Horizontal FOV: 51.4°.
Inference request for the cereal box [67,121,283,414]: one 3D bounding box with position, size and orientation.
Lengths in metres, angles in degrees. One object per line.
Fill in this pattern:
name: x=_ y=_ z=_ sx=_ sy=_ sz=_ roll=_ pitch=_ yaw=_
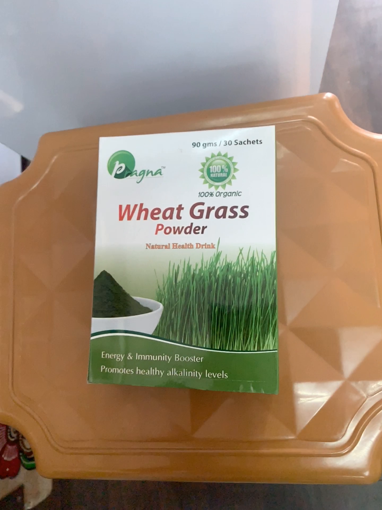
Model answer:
cereal box: x=-0.007 y=0.007 z=0.267 sx=0.130 sy=0.050 sz=0.170 roll=-1 pitch=83 yaw=11
